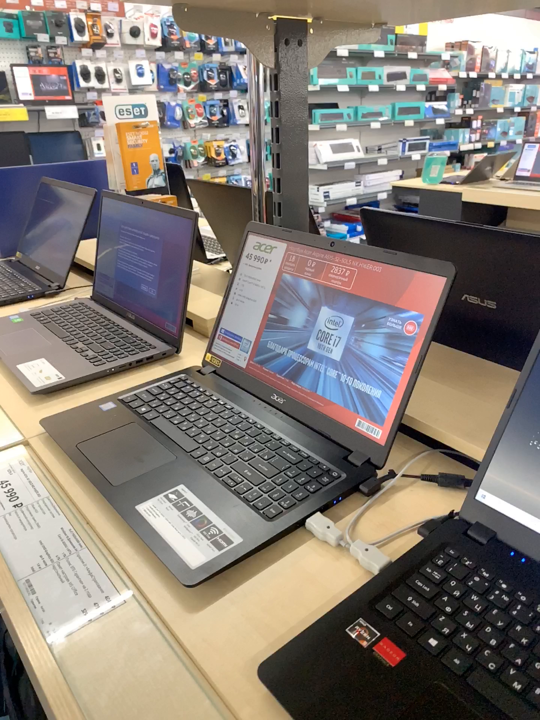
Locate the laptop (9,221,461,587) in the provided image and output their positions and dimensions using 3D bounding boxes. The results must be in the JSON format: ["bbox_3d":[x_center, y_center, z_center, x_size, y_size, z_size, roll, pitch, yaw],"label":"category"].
[{"bbox_3d":[-0.048,-0.012,0.662,0.365,0.208,0.369,-20,30,-35],"label":"laptop"}]
